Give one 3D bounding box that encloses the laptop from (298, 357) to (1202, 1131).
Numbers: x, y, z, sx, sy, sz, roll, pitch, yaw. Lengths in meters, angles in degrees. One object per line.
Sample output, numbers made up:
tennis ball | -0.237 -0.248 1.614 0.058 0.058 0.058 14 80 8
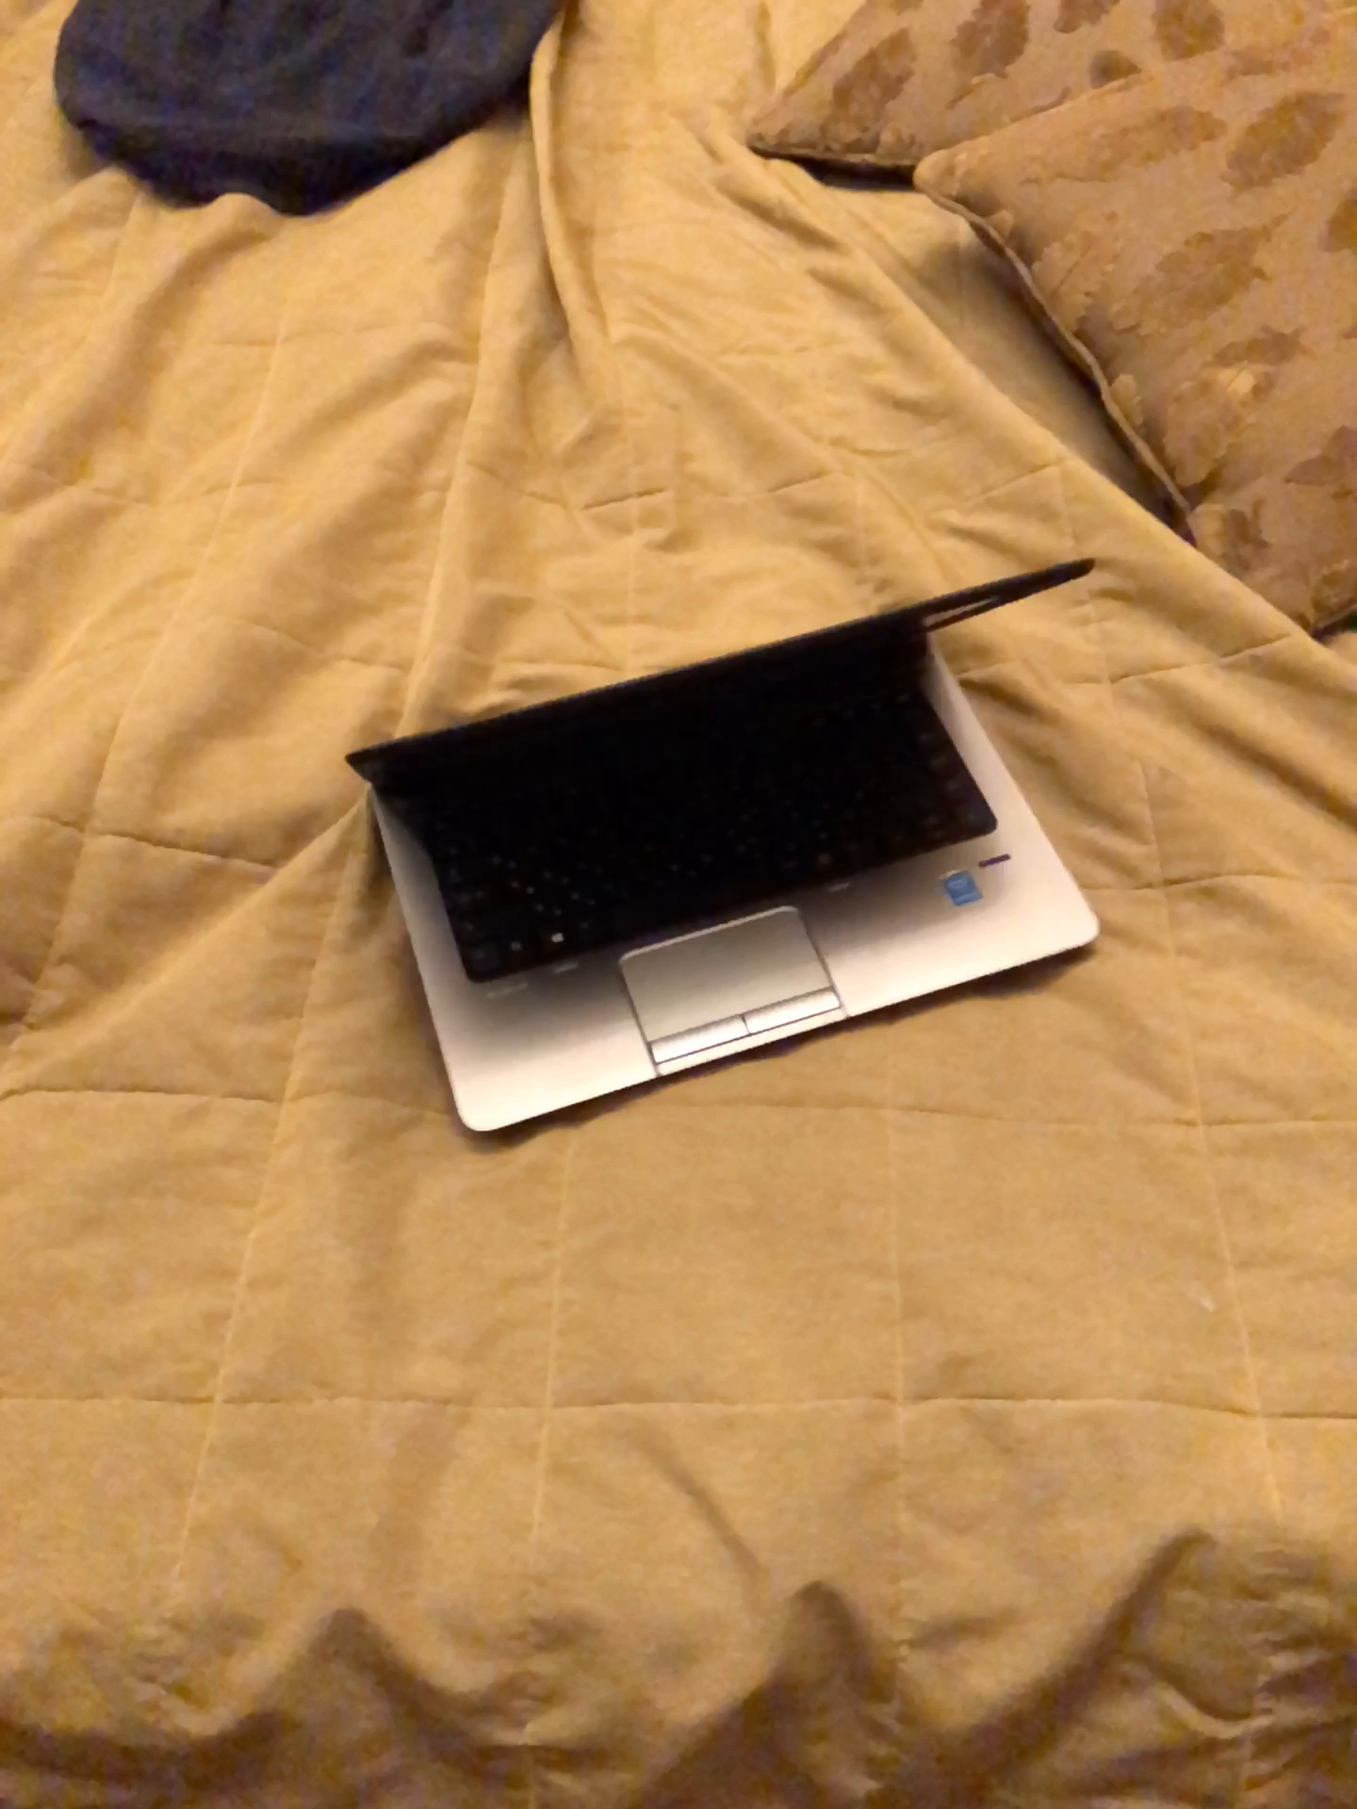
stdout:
laptop | 0.022 -0.081 0.718 0.331 0.189 0.225 -16 57 -11
